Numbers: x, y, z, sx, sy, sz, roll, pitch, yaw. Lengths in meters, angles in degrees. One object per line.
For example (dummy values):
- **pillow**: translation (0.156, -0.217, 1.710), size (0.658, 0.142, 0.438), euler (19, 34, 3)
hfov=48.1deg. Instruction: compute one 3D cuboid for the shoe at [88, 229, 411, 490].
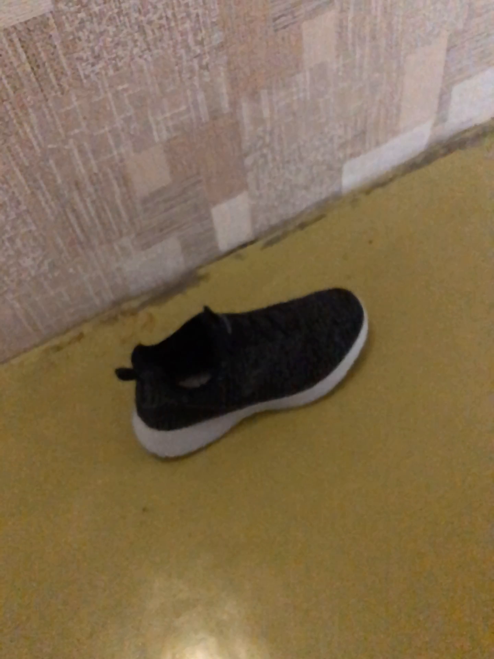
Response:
- **shoe**: translation (0.008, 0.029, 0.632), size (0.320, 0.120, 0.130), euler (-25, 52, -11)
